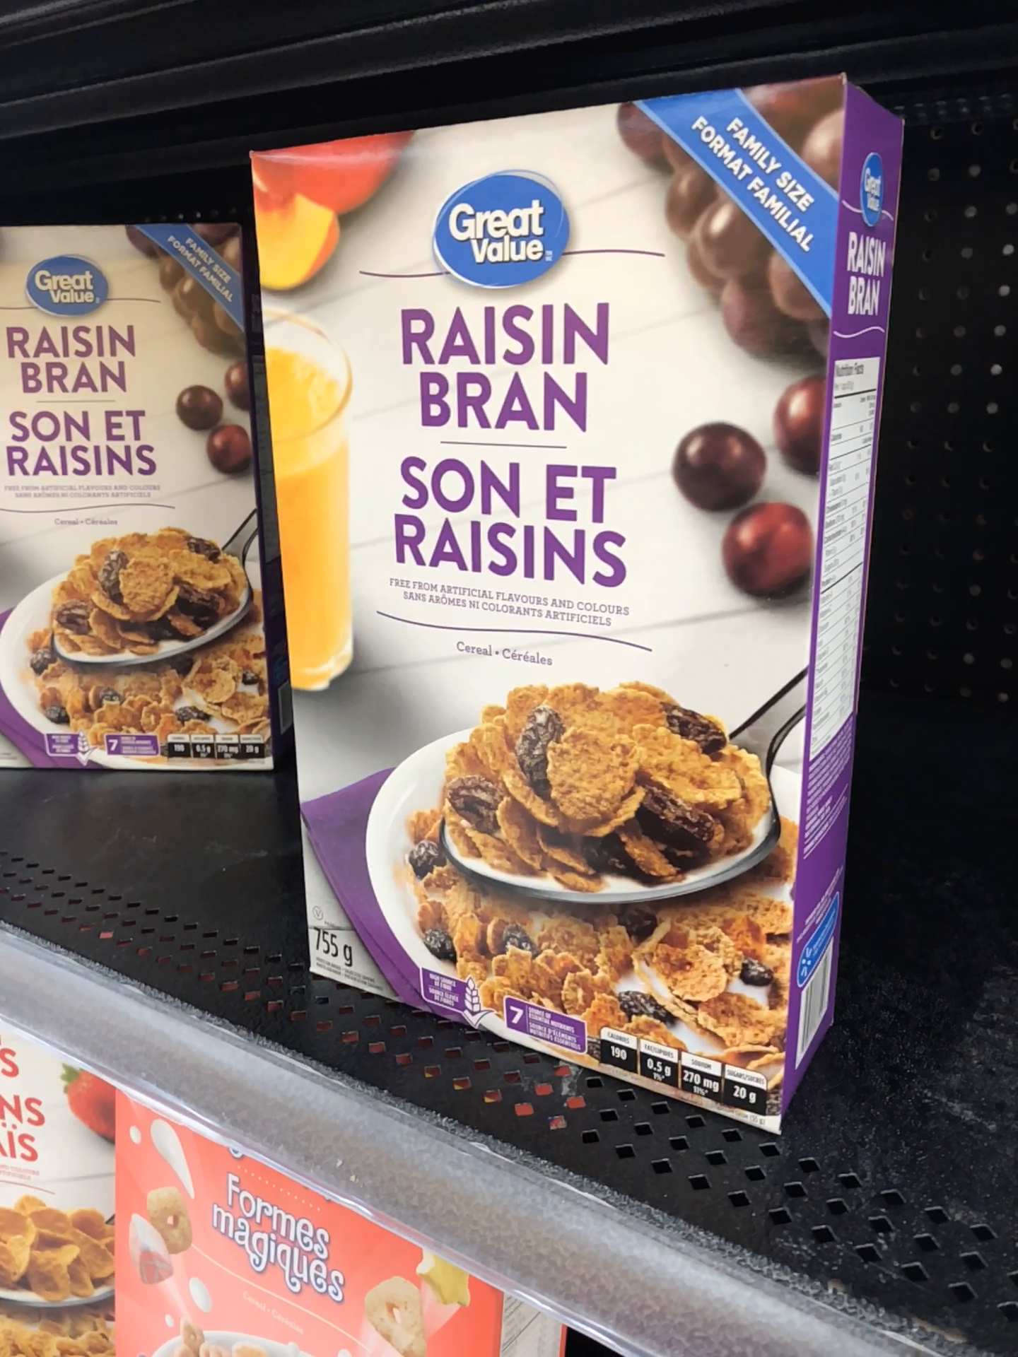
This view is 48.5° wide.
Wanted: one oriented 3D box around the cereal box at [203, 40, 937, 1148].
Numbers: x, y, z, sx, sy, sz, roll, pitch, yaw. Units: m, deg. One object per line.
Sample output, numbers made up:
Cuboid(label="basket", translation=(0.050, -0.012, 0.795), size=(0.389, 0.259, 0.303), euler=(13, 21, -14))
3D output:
Cuboid(label="cereal box", translation=(0.012, -0.026, 0.380), size=(0.210, 0.299, 0.070), euler=(9, 19, 29))
